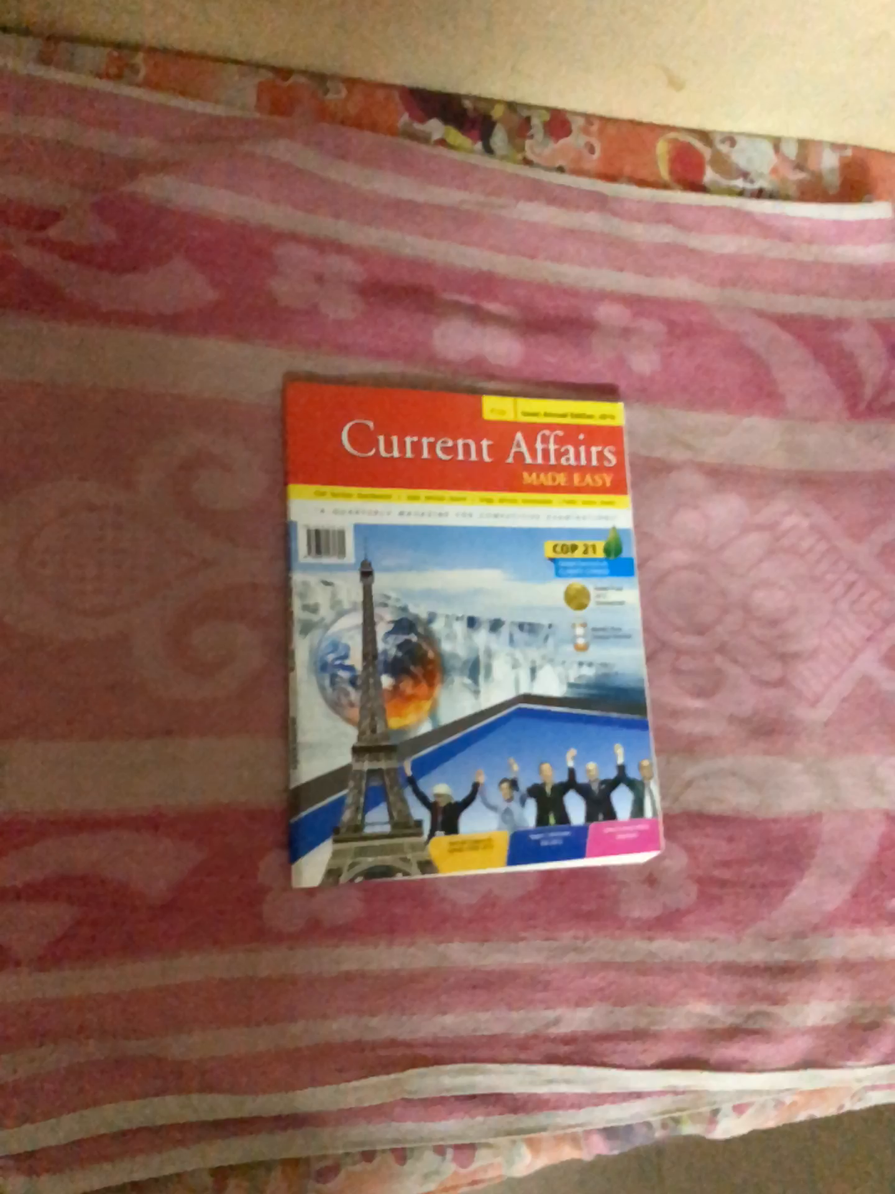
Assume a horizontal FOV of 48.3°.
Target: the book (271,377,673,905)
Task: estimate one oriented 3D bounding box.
[{"bbox_3d":[0.012,0.018,0.547,0.205,0.025,0.270,0,79,-18],"label":"book"}]
